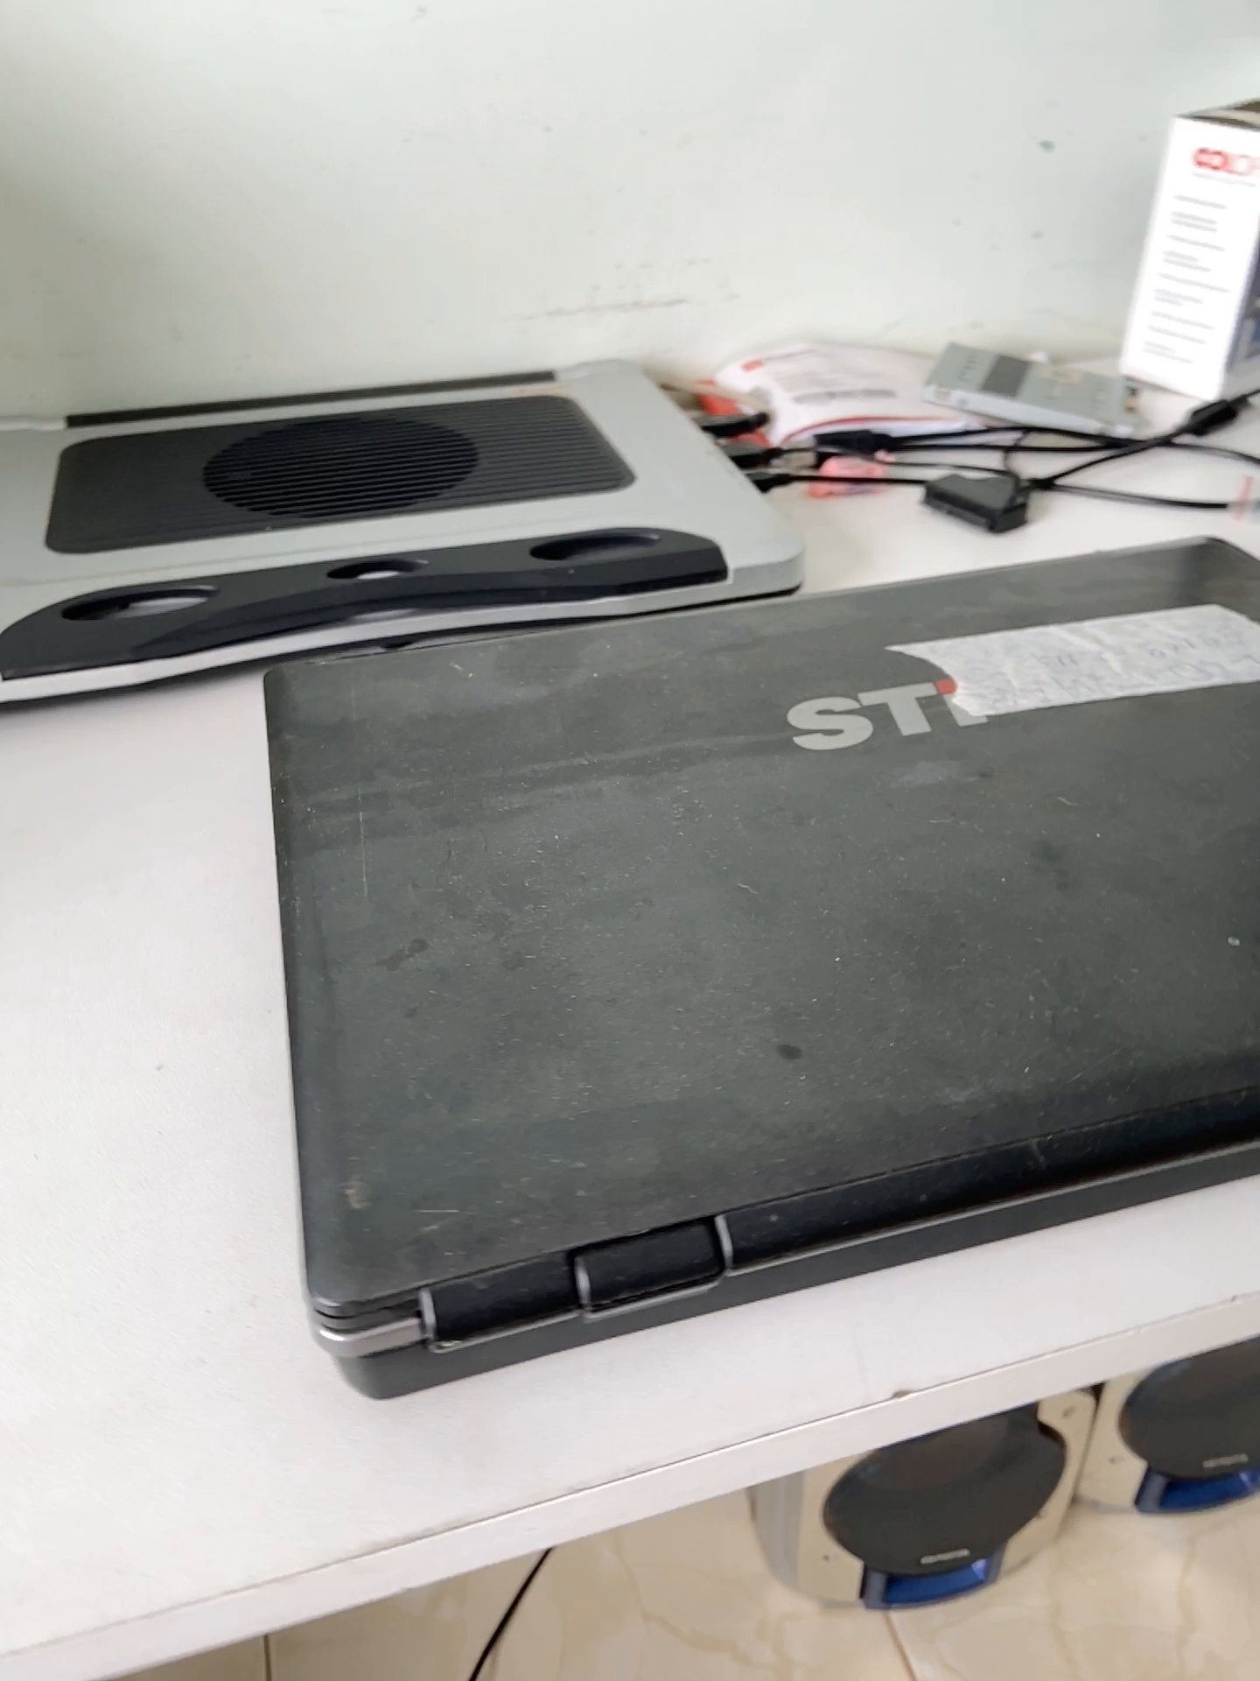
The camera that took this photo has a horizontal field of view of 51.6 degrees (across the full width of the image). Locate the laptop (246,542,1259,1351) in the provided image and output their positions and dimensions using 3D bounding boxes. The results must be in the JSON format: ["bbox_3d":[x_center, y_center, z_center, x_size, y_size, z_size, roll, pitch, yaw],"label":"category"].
[{"bbox_3d":[0.075,-0.011,0.342,0.338,0.006,0.235,-10,36,-11],"label":"laptop"}]
